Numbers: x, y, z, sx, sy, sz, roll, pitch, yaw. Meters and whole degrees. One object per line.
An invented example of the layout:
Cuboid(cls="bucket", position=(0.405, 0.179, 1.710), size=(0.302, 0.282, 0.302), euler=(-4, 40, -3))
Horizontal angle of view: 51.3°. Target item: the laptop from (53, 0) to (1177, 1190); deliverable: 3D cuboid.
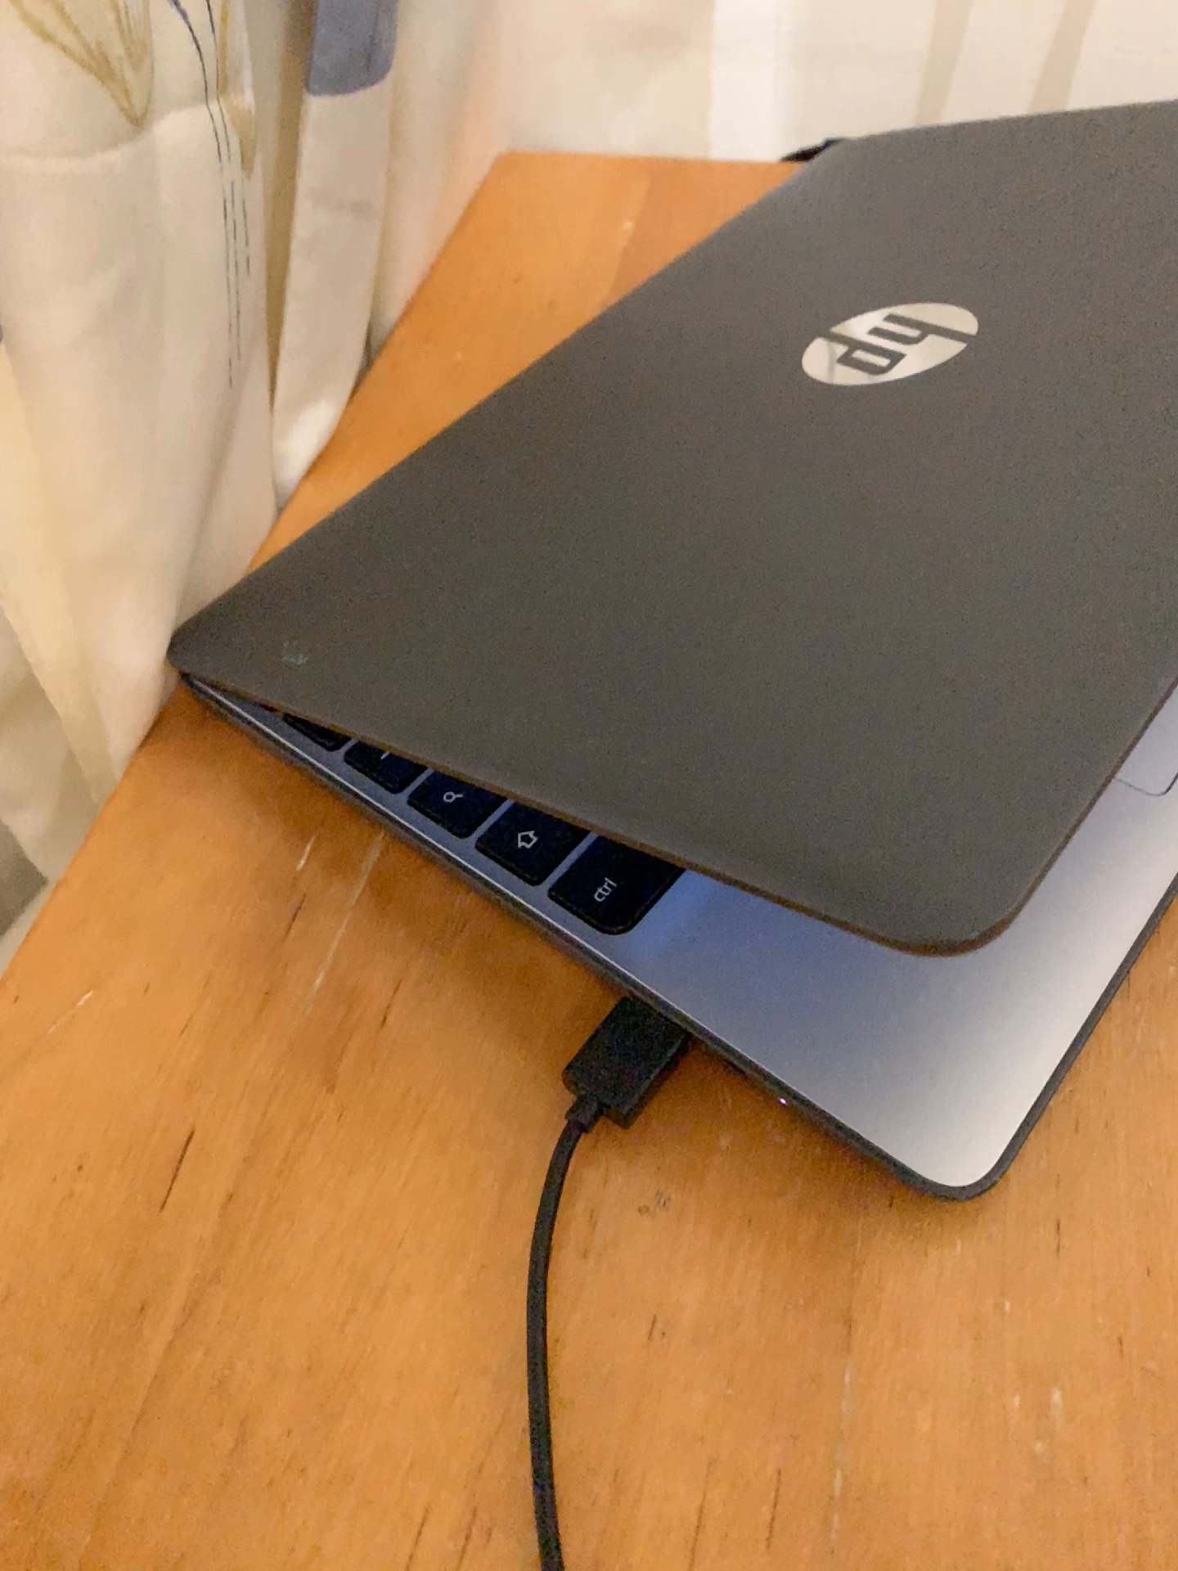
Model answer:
Cuboid(cls="laptop", position=(0.065, -0.088, 0.264), size=(0.190, 0.066, 0.269), euler=(30, 59, 26))
